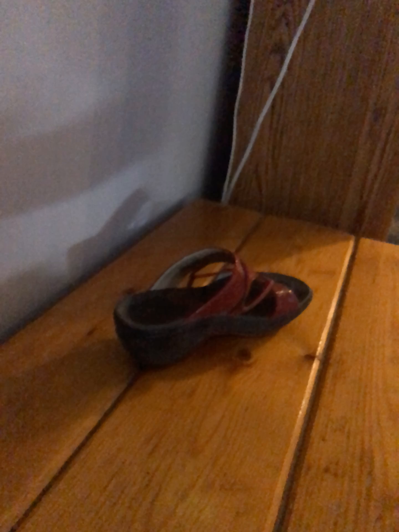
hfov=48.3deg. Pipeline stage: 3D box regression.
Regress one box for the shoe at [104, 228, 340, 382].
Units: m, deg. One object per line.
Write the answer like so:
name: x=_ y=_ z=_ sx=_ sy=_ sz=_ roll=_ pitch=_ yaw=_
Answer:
shoe: x=0.030 y=0.030 z=0.504 sx=0.250 sy=0.070 sz=0.100 roll=-15 pitch=35 yaw=-33
